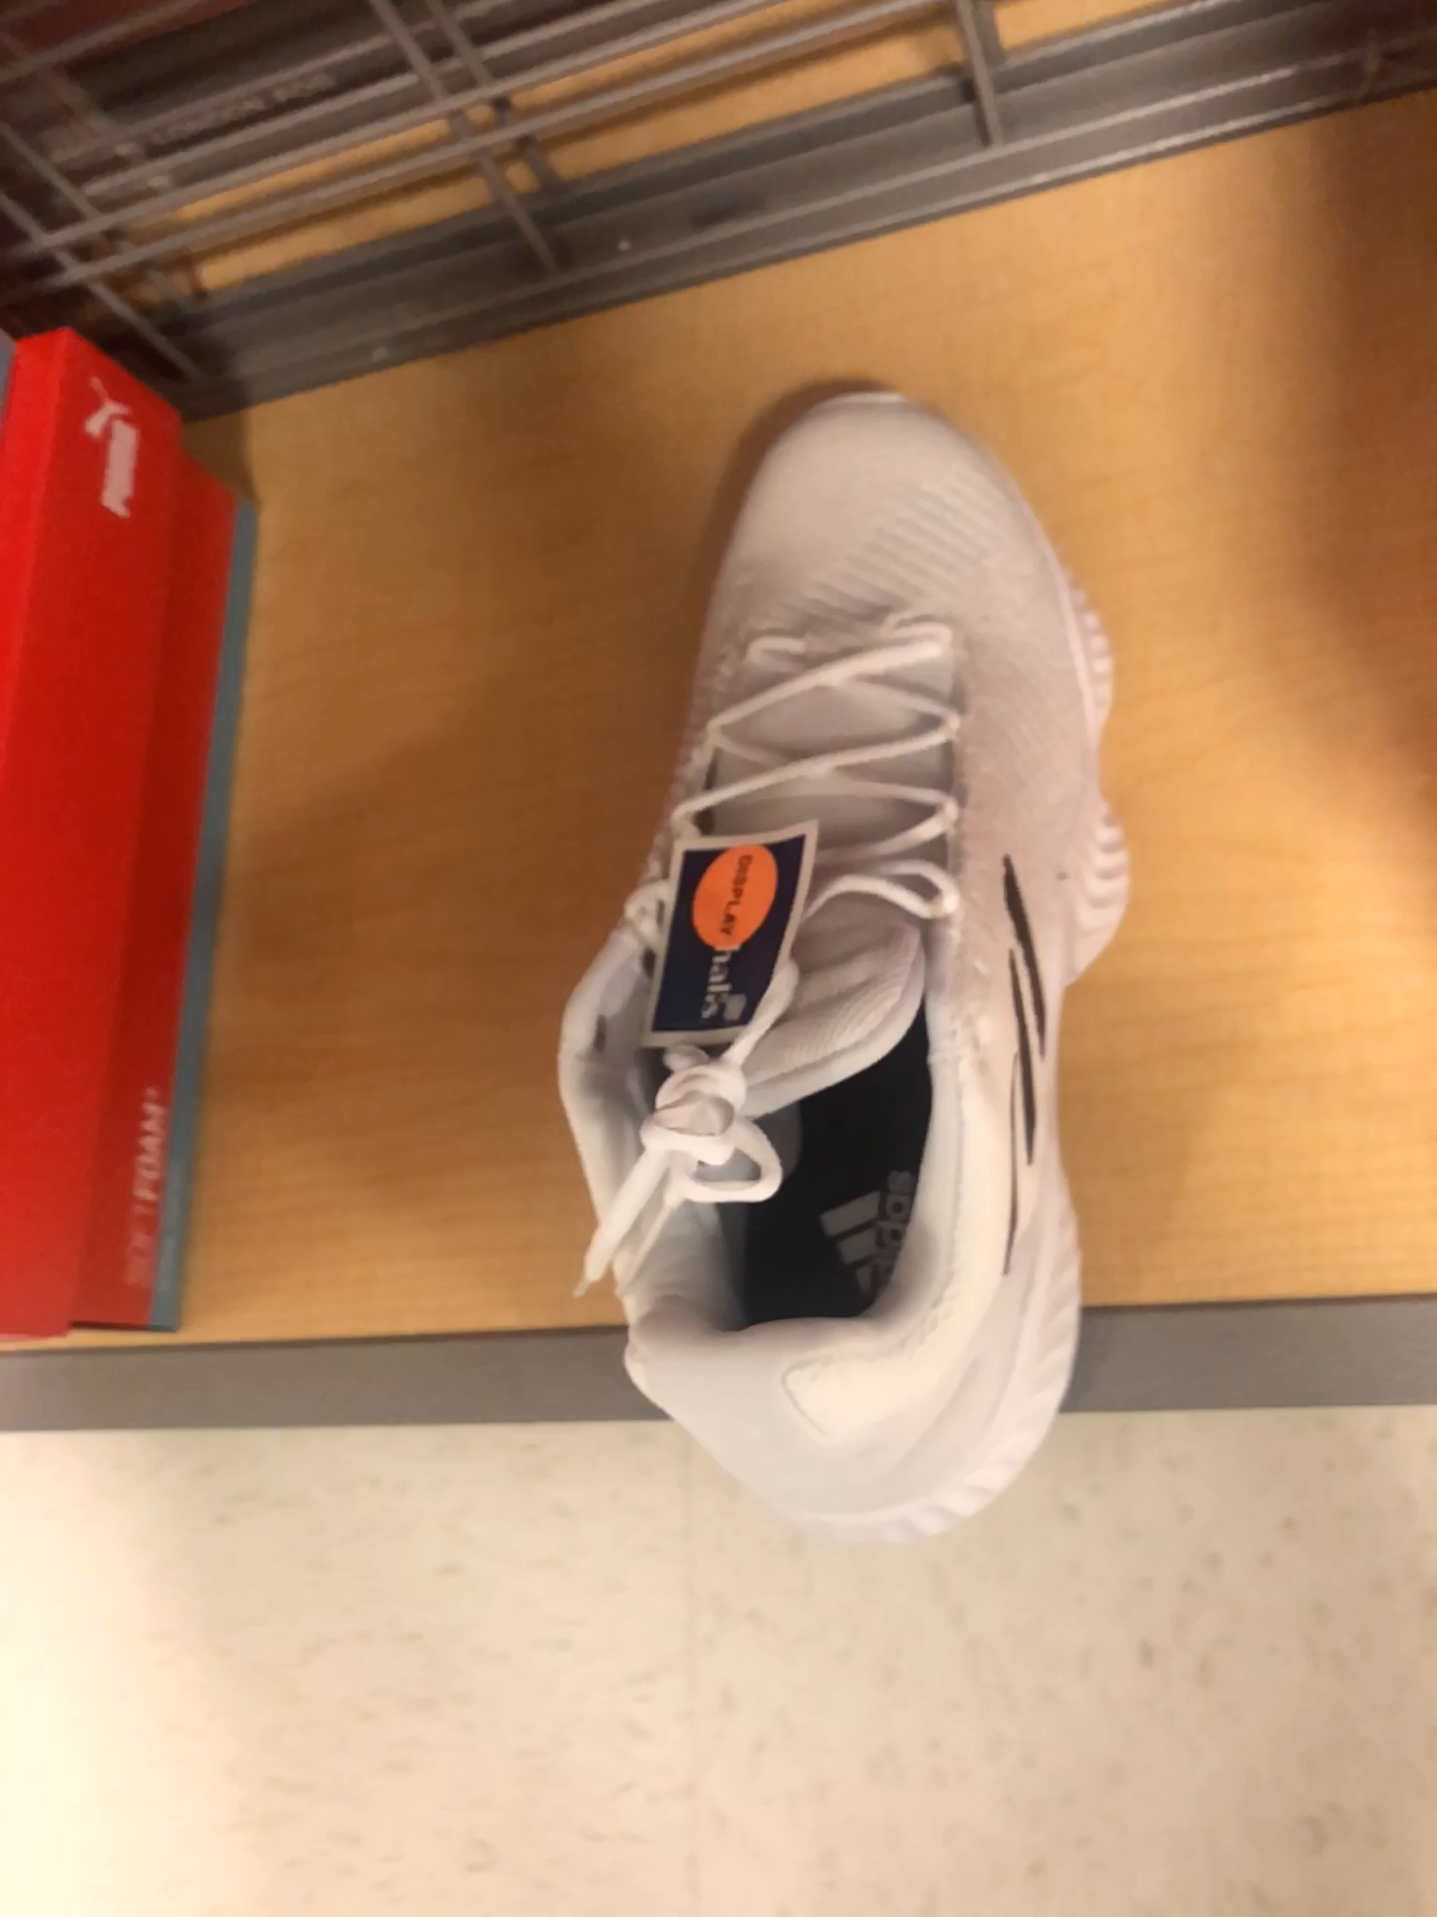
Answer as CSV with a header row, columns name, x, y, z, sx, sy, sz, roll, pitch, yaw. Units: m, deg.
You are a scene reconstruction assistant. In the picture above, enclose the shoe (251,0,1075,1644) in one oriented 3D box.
name,x,y,z,sx,sy,sz,roll,pitch,yaw
shoe,0.008,-0.031,0.392,0.120,0.150,0.336,0,75,22
